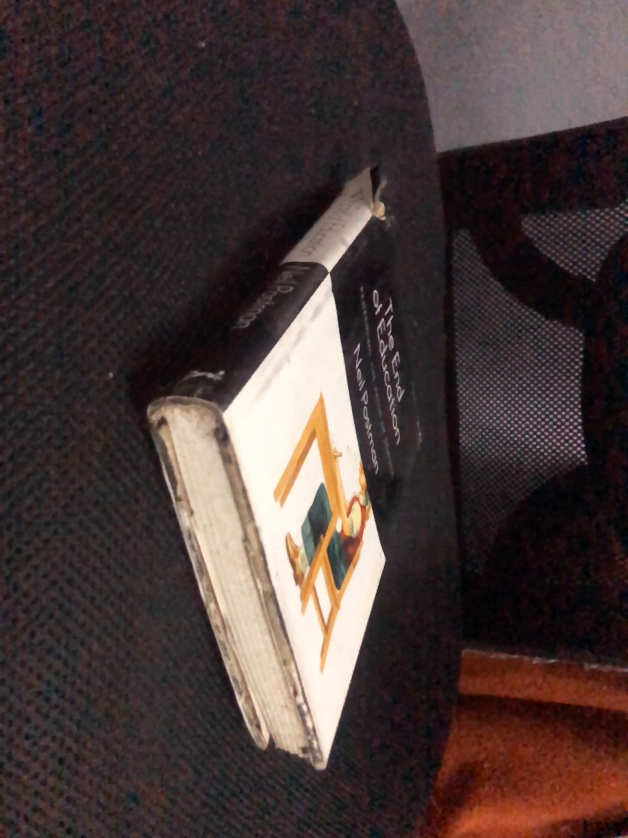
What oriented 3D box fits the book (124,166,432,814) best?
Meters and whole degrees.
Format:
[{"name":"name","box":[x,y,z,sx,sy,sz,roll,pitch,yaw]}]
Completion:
[{"name":"book","box":[0.015,0.005,0.321,0.251,0.030,0.180,-62,146,-55]}]
